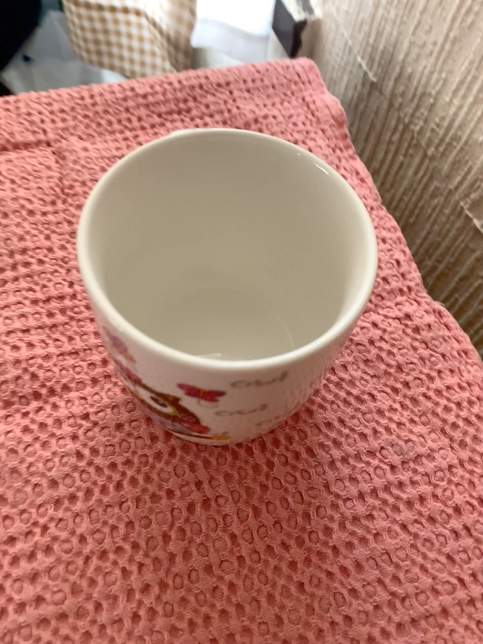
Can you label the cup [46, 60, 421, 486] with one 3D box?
[{"bbox_3d":[-0.013,-0.017,0.189,0.090,0.089,0.121,-9,62,-9],"label":"cup"}]
